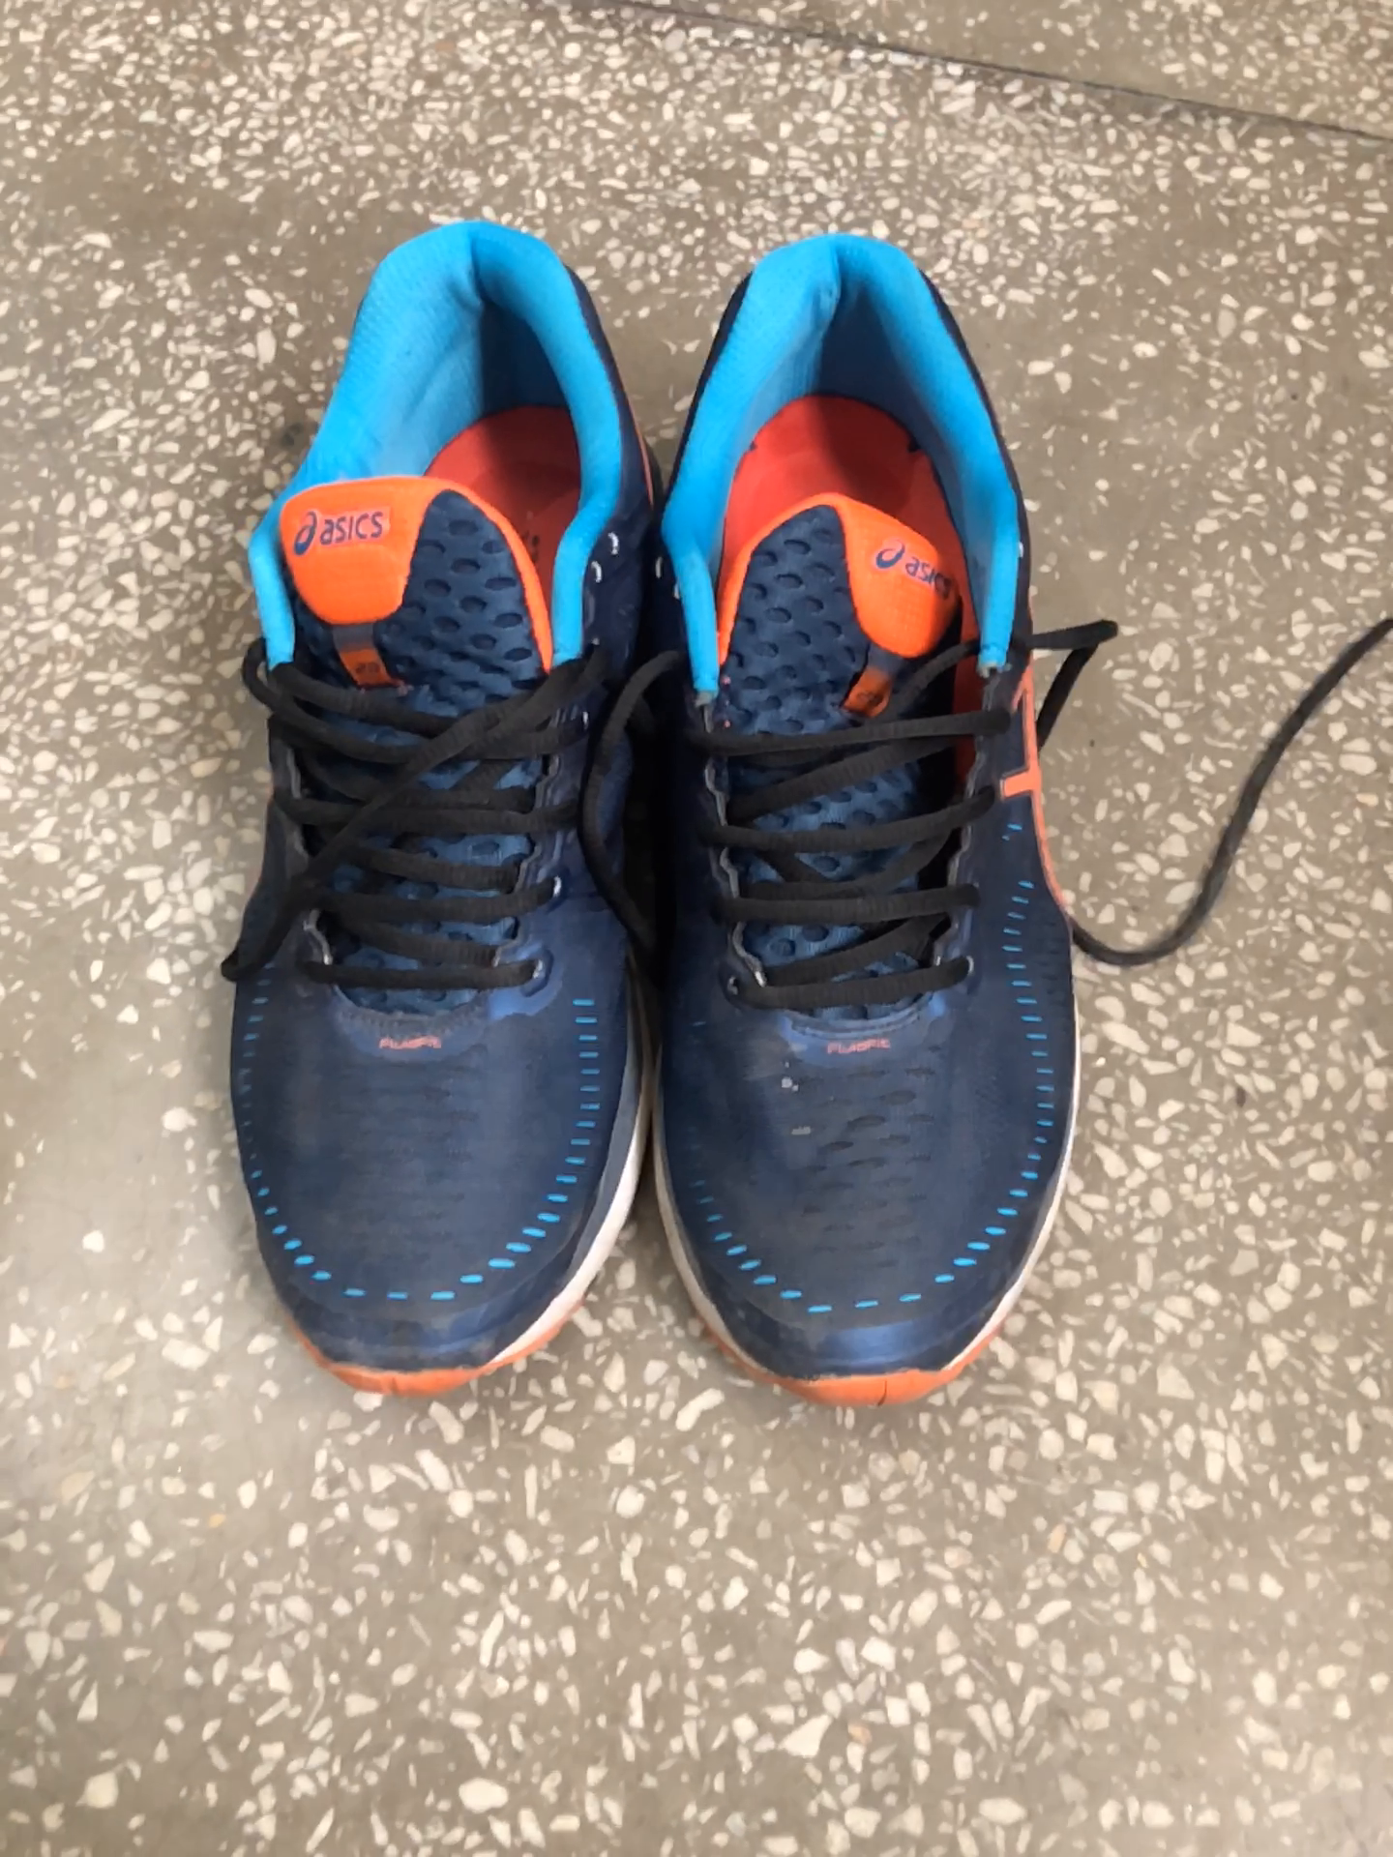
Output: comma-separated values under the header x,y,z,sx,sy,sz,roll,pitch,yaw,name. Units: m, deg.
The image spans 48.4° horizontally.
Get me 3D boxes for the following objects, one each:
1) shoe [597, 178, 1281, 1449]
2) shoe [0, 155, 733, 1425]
x,y,z,sx,sy,sz,roll,pitch,yaw,name
0.048,-0.034,0.373,0.118,0.100,0.288,2,66,1,shoe
-0.060,-0.040,0.376,0.118,0.100,0.288,4,66,2,shoe
